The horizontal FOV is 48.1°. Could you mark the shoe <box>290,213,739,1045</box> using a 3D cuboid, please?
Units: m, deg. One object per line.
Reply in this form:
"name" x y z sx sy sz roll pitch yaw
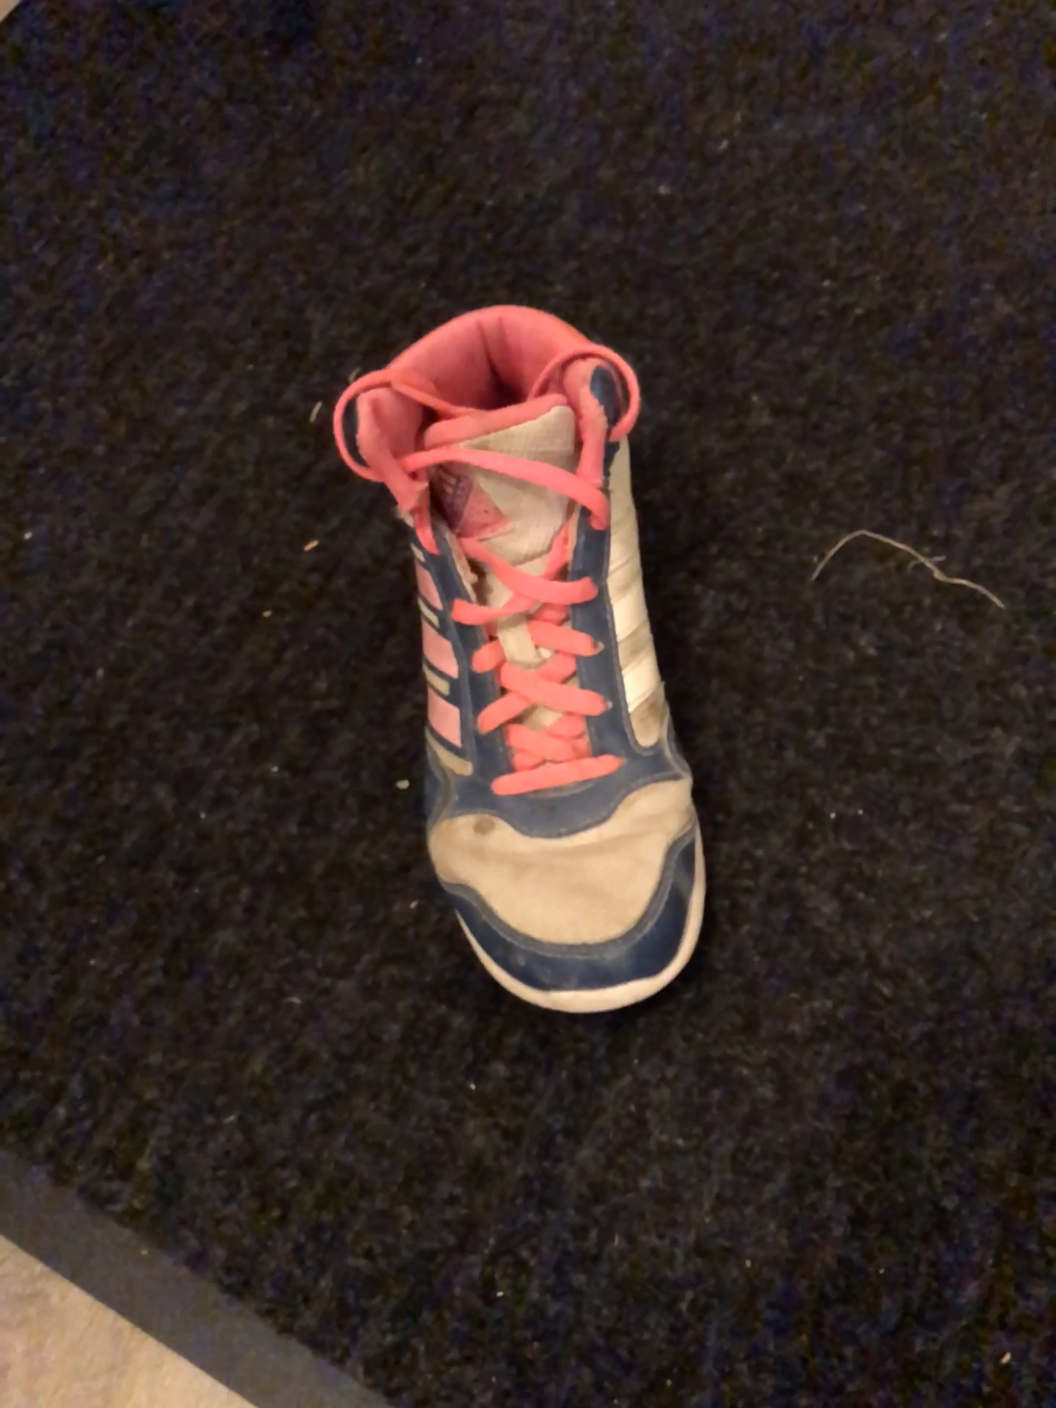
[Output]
"shoe" -0.006 -0.021 0.336 0.090 0.100 0.200 -11 60 8
